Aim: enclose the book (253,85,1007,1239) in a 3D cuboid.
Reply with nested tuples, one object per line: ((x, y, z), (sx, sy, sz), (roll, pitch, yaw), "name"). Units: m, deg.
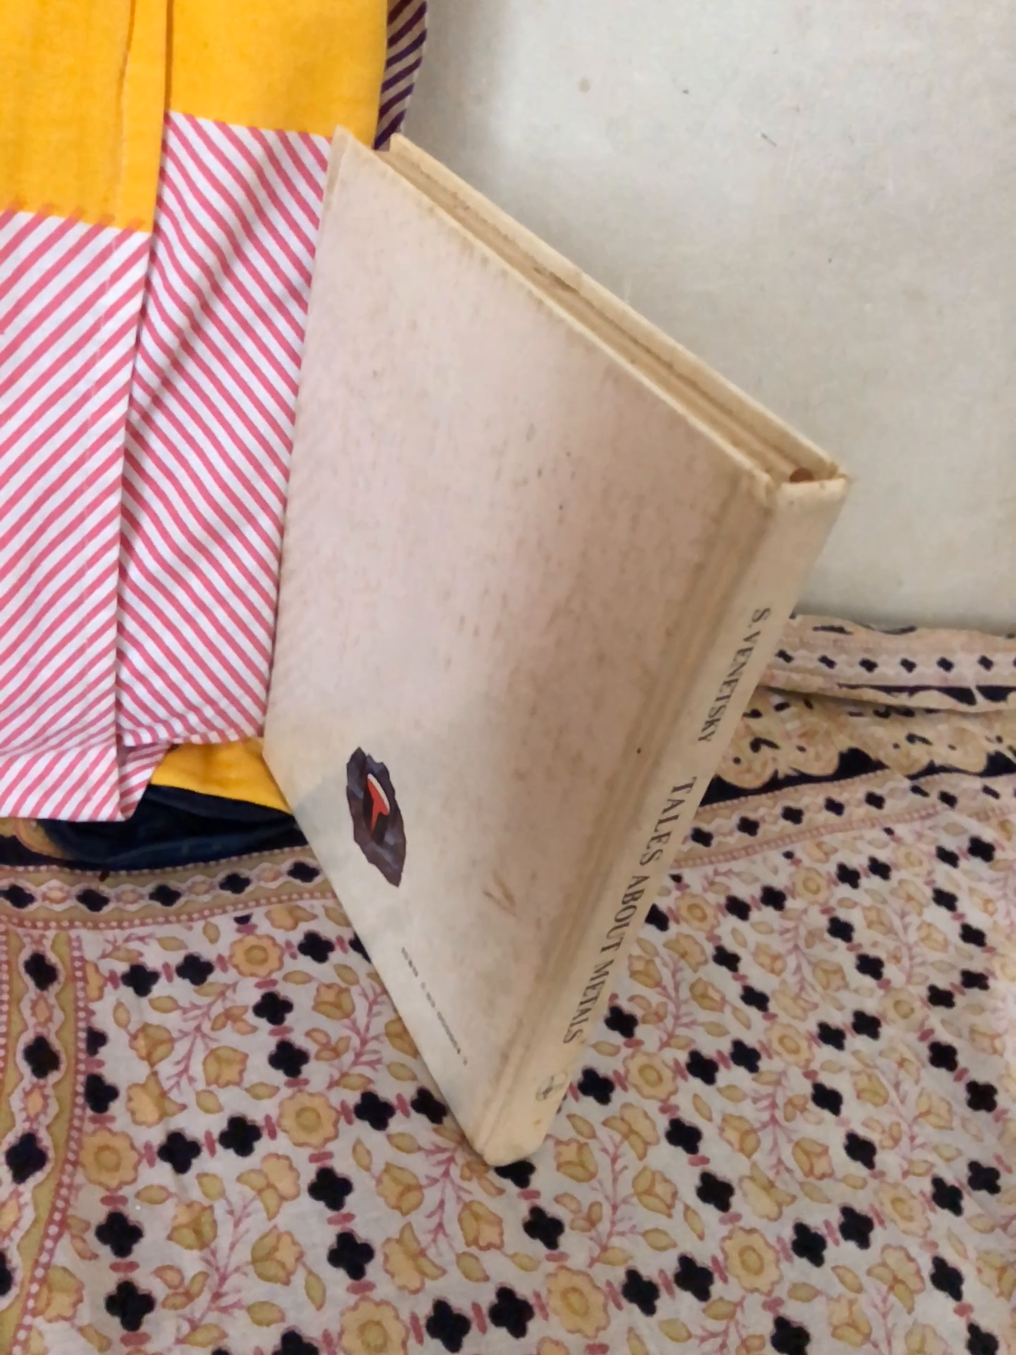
((-0.005, -0.004, 0.317), (0.050, 0.249, 0.190), (-11, 41, -31), "book")
